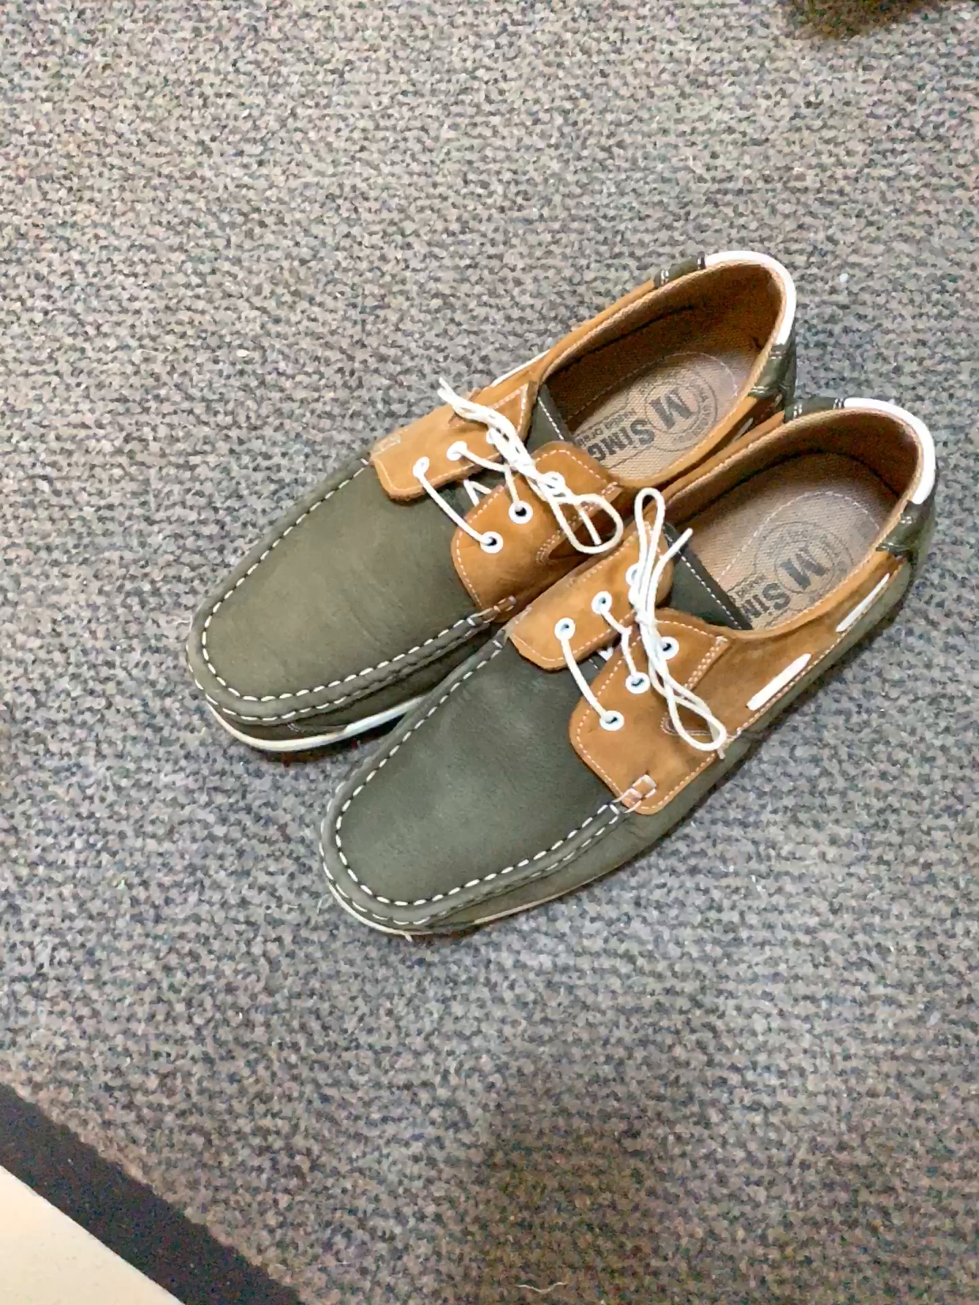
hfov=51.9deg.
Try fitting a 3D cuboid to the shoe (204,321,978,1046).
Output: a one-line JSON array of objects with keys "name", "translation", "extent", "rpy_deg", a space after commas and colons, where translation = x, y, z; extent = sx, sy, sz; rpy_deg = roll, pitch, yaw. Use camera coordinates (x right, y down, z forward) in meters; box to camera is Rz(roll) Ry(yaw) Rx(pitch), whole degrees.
[{"name": "shoe", "translation": [0.049, 0.017, 0.398], "extent": [0.270, 0.130, 0.107], "rpy_deg": [-36, 77, -5]}]

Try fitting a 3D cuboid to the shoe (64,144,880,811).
[{"name": "shoe", "translation": [-0.003, -0.058, 0.414], "extent": [0.270, 0.130, 0.107], "rpy_deg": [-32, 77, -4]}]
